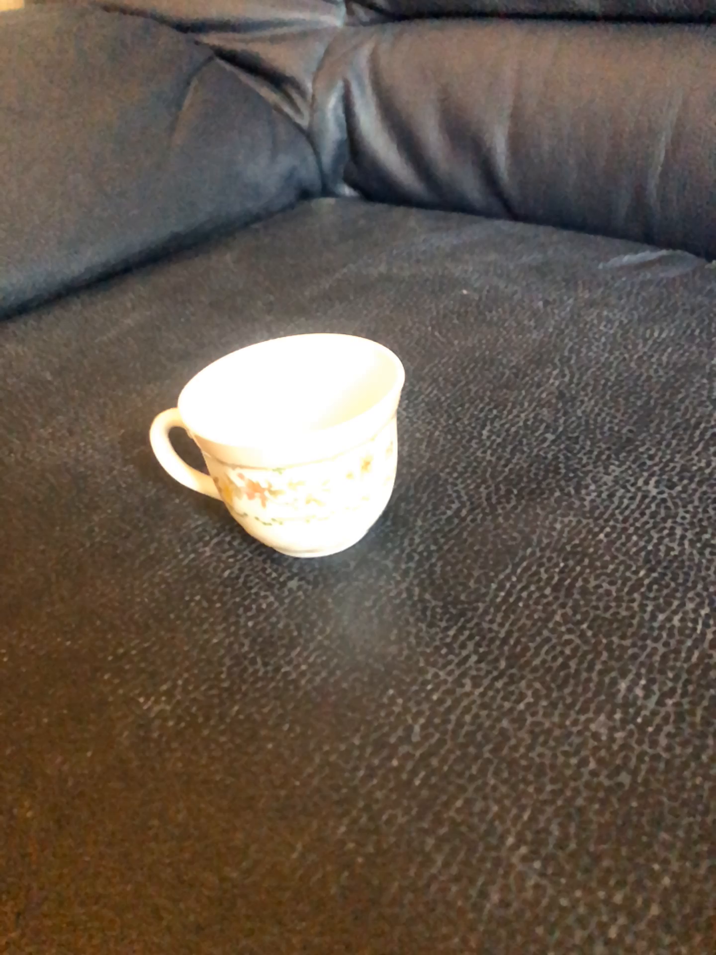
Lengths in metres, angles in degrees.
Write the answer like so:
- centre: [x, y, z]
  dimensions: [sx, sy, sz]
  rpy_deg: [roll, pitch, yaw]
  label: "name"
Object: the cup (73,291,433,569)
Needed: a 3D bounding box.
- centre: [-0.024, -0.015, 0.236]
  dimensions: [0.083, 0.050, 0.069]
  rpy_deg: [-1, 37, 11]
  label: "cup"
